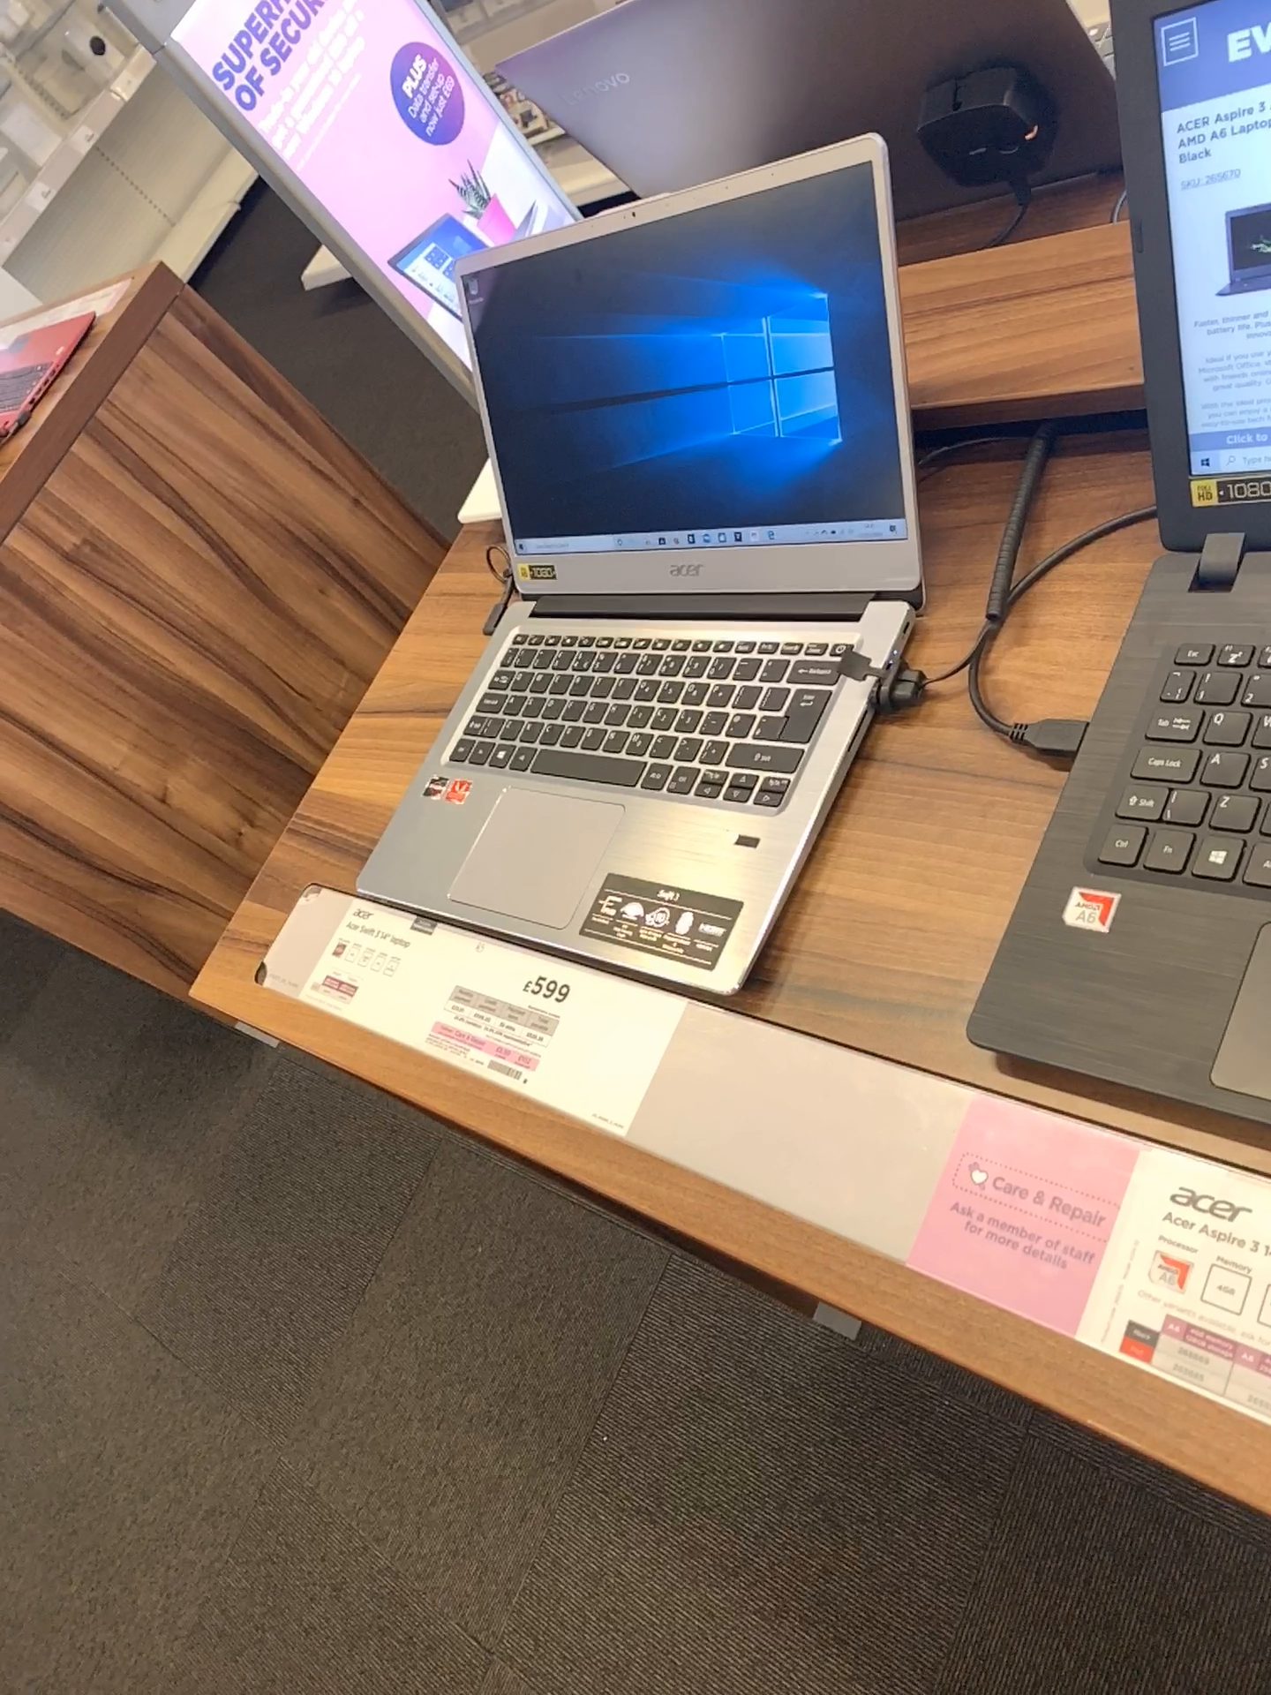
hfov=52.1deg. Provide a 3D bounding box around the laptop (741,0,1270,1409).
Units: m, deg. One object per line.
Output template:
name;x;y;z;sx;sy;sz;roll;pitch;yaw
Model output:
laptop;0.287;-0.113;0.374;0.373;0.191;0.356;7;66;42

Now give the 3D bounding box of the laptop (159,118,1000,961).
laptop;-0.033;-0.160;0.706;0.309;0.153;0.359;10;68;44
